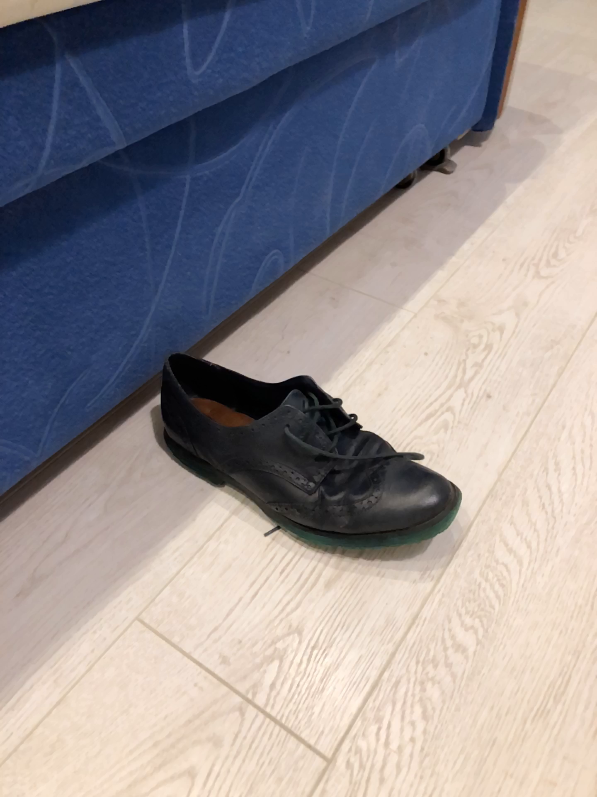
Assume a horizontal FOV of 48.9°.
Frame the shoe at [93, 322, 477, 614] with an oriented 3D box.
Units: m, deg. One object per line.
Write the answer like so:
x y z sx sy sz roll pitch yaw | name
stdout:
-0.013 0.041 0.483 0.250 0.089 0.096 20 47 20 | shoe
